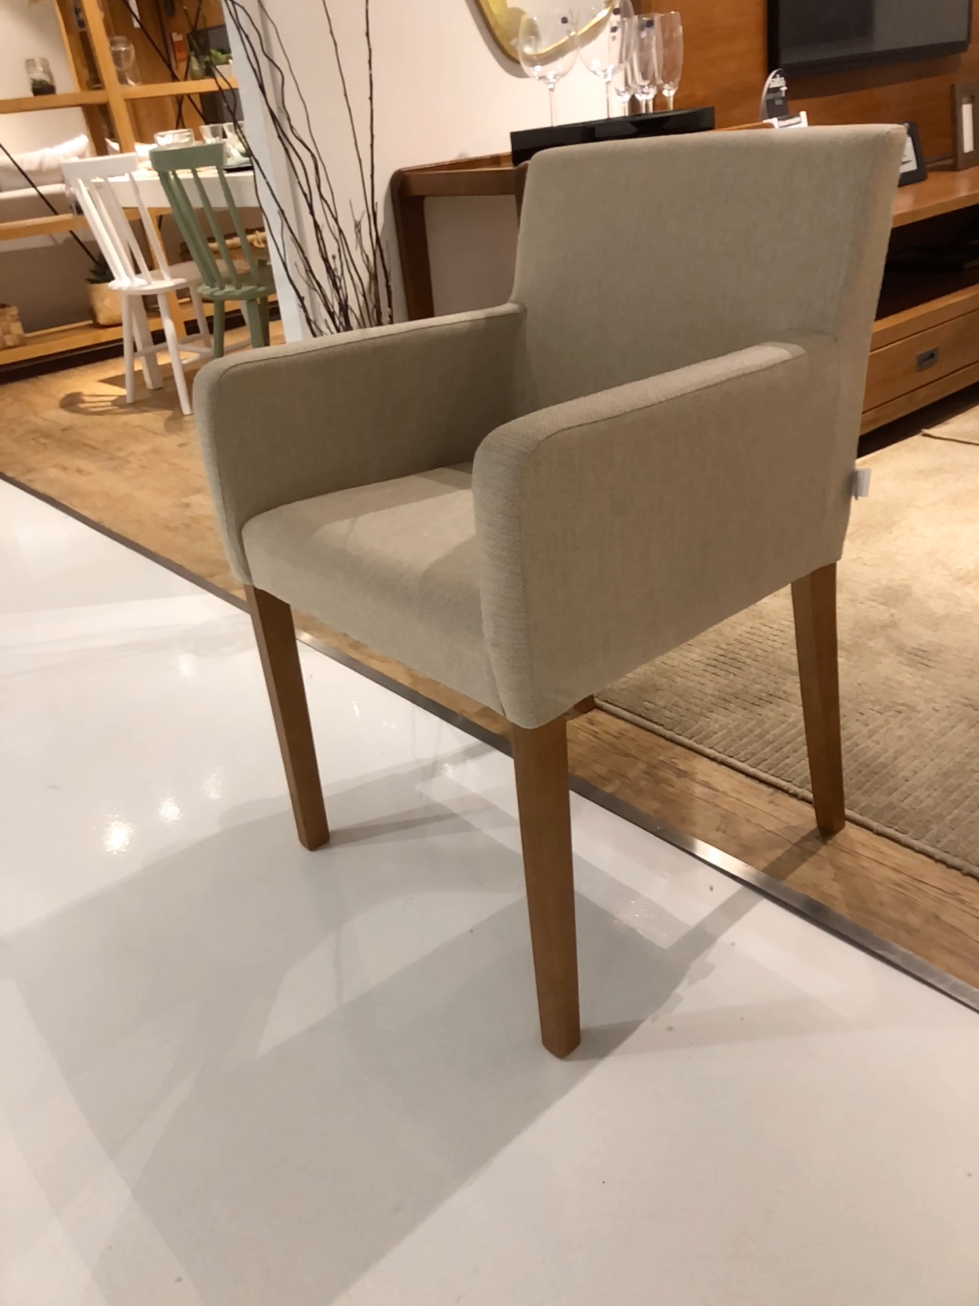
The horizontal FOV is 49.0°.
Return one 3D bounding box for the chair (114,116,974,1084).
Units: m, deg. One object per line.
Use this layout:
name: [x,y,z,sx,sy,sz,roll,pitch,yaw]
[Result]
chair: [0.076,-0.134,1.253,0.622,0.794,0.602,-25,32,-32]
